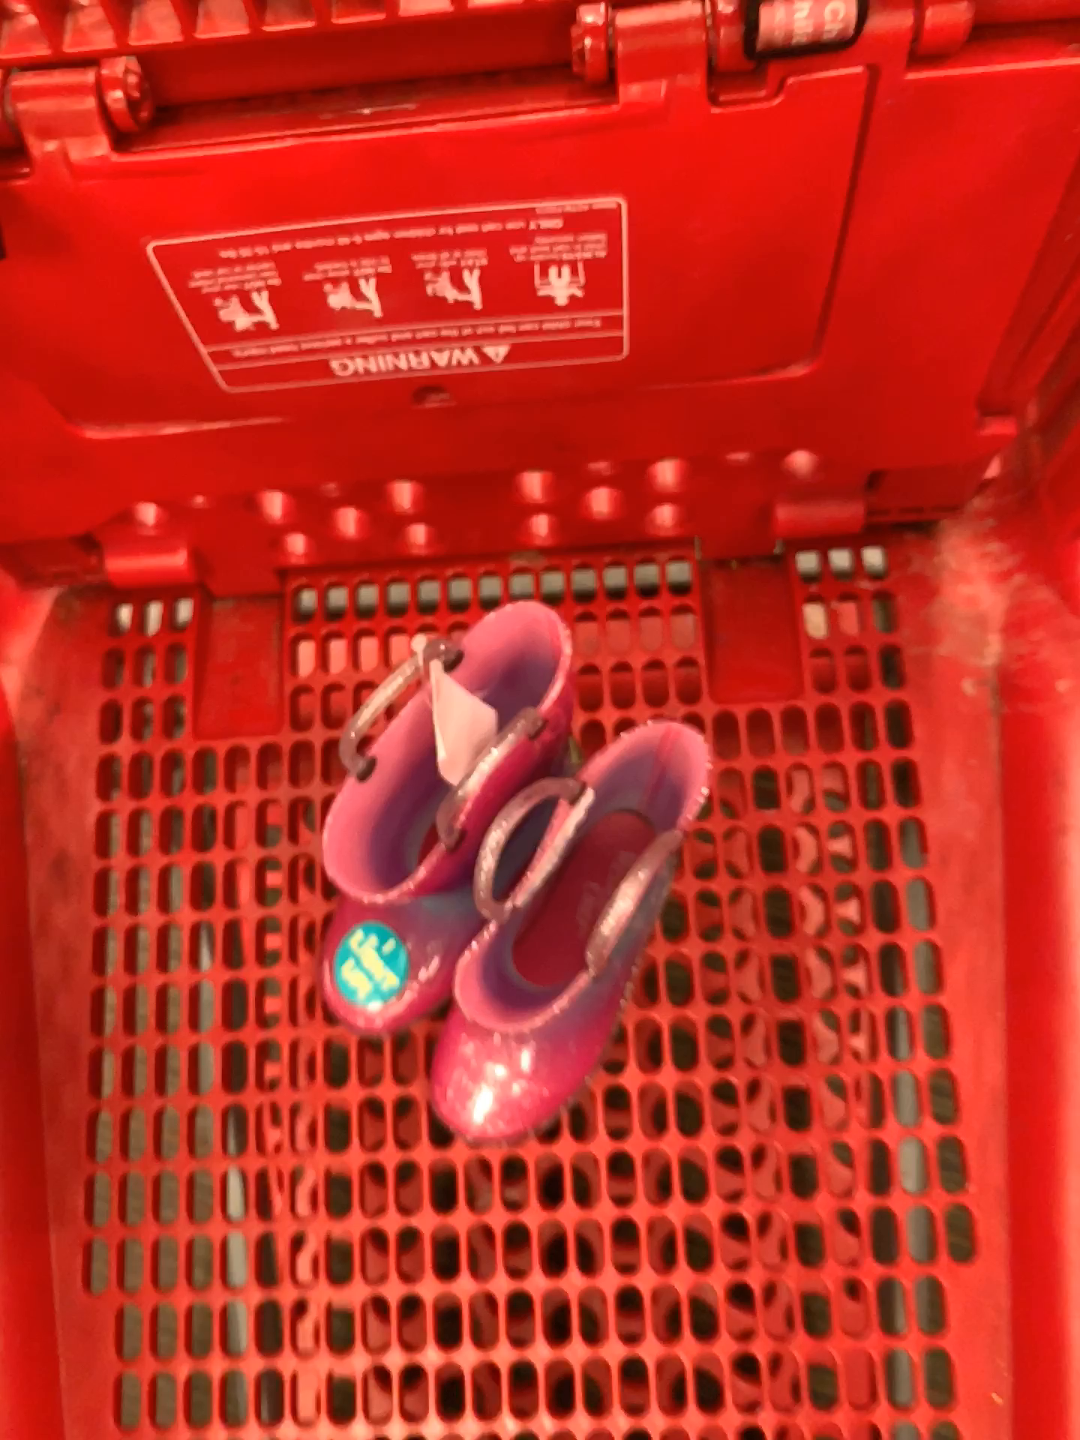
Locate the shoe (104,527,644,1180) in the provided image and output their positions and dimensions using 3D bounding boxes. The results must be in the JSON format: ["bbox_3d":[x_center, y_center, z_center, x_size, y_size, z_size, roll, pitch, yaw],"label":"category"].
[{"bbox_3d":[-0.047,0.049,0.427,0.070,0.140,0.200,34,86,8],"label":"shoe"}]

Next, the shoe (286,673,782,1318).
[{"bbox_3d":[0.004,0.093,0.427,0.070,0.140,0.190,30,85,8],"label":"shoe"}]
